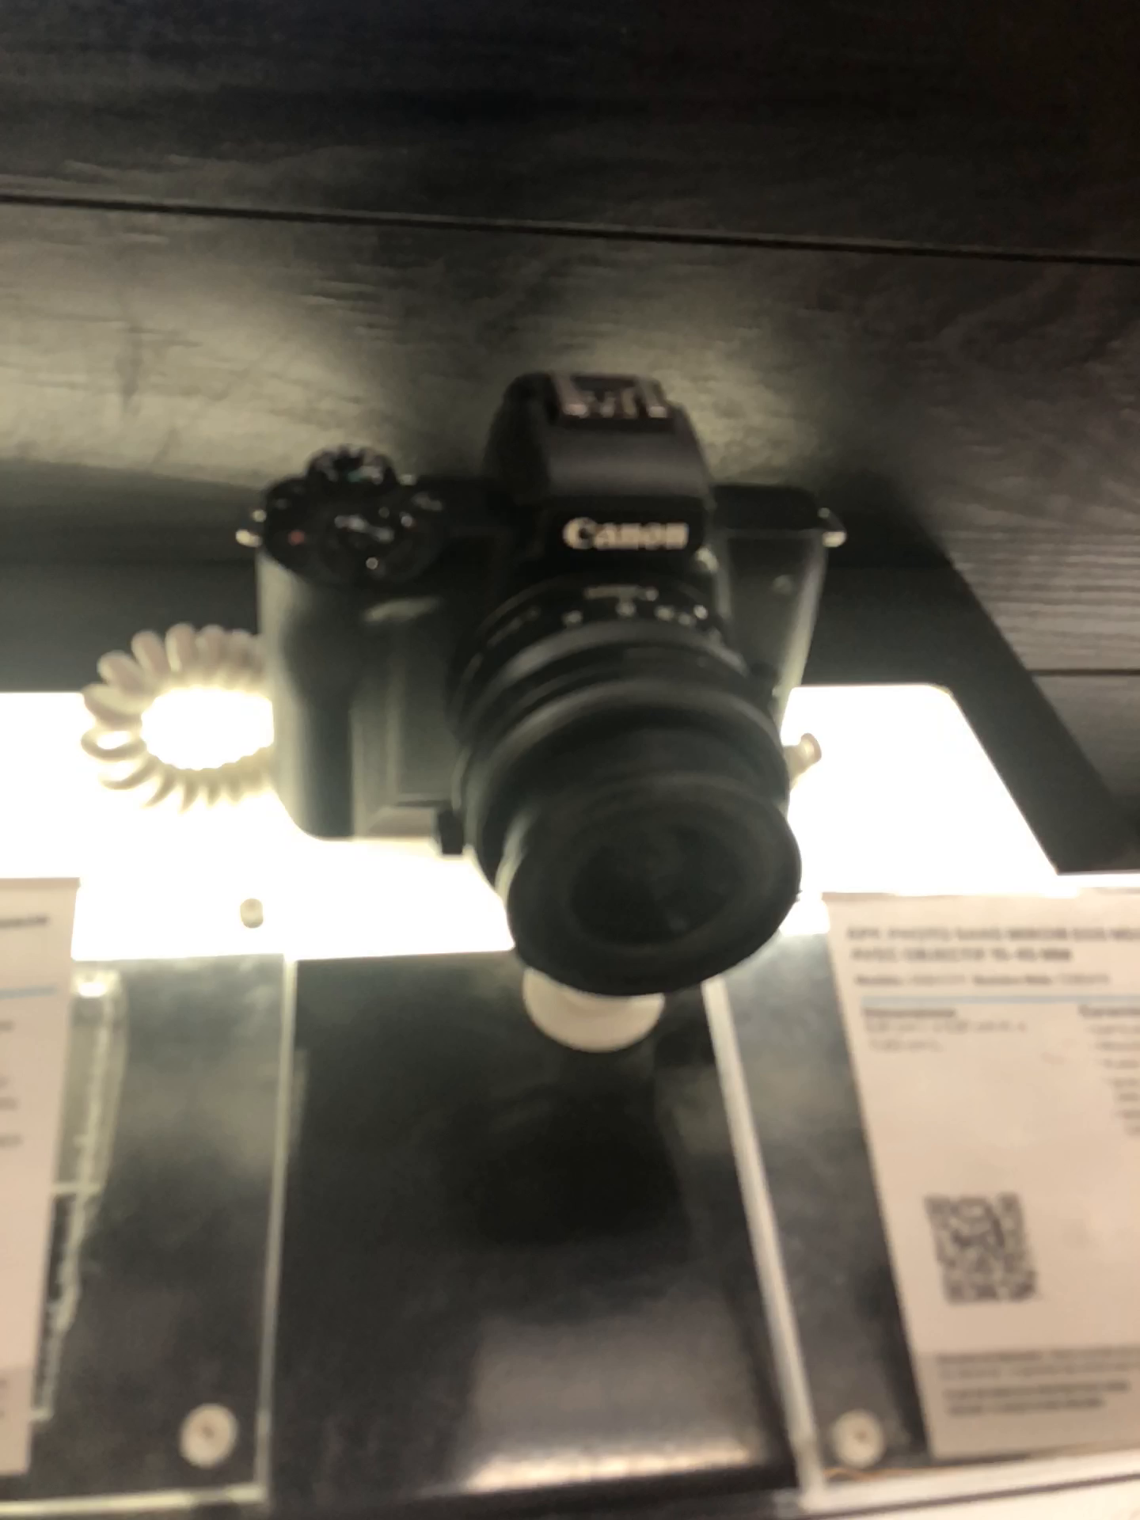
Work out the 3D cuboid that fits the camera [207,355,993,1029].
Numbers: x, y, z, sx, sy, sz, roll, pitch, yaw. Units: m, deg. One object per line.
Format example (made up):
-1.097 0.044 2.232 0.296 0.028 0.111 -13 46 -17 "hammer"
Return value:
-0.003 -0.018 0.250 0.119 0.089 0.101 -1 37 -9 "camera"
